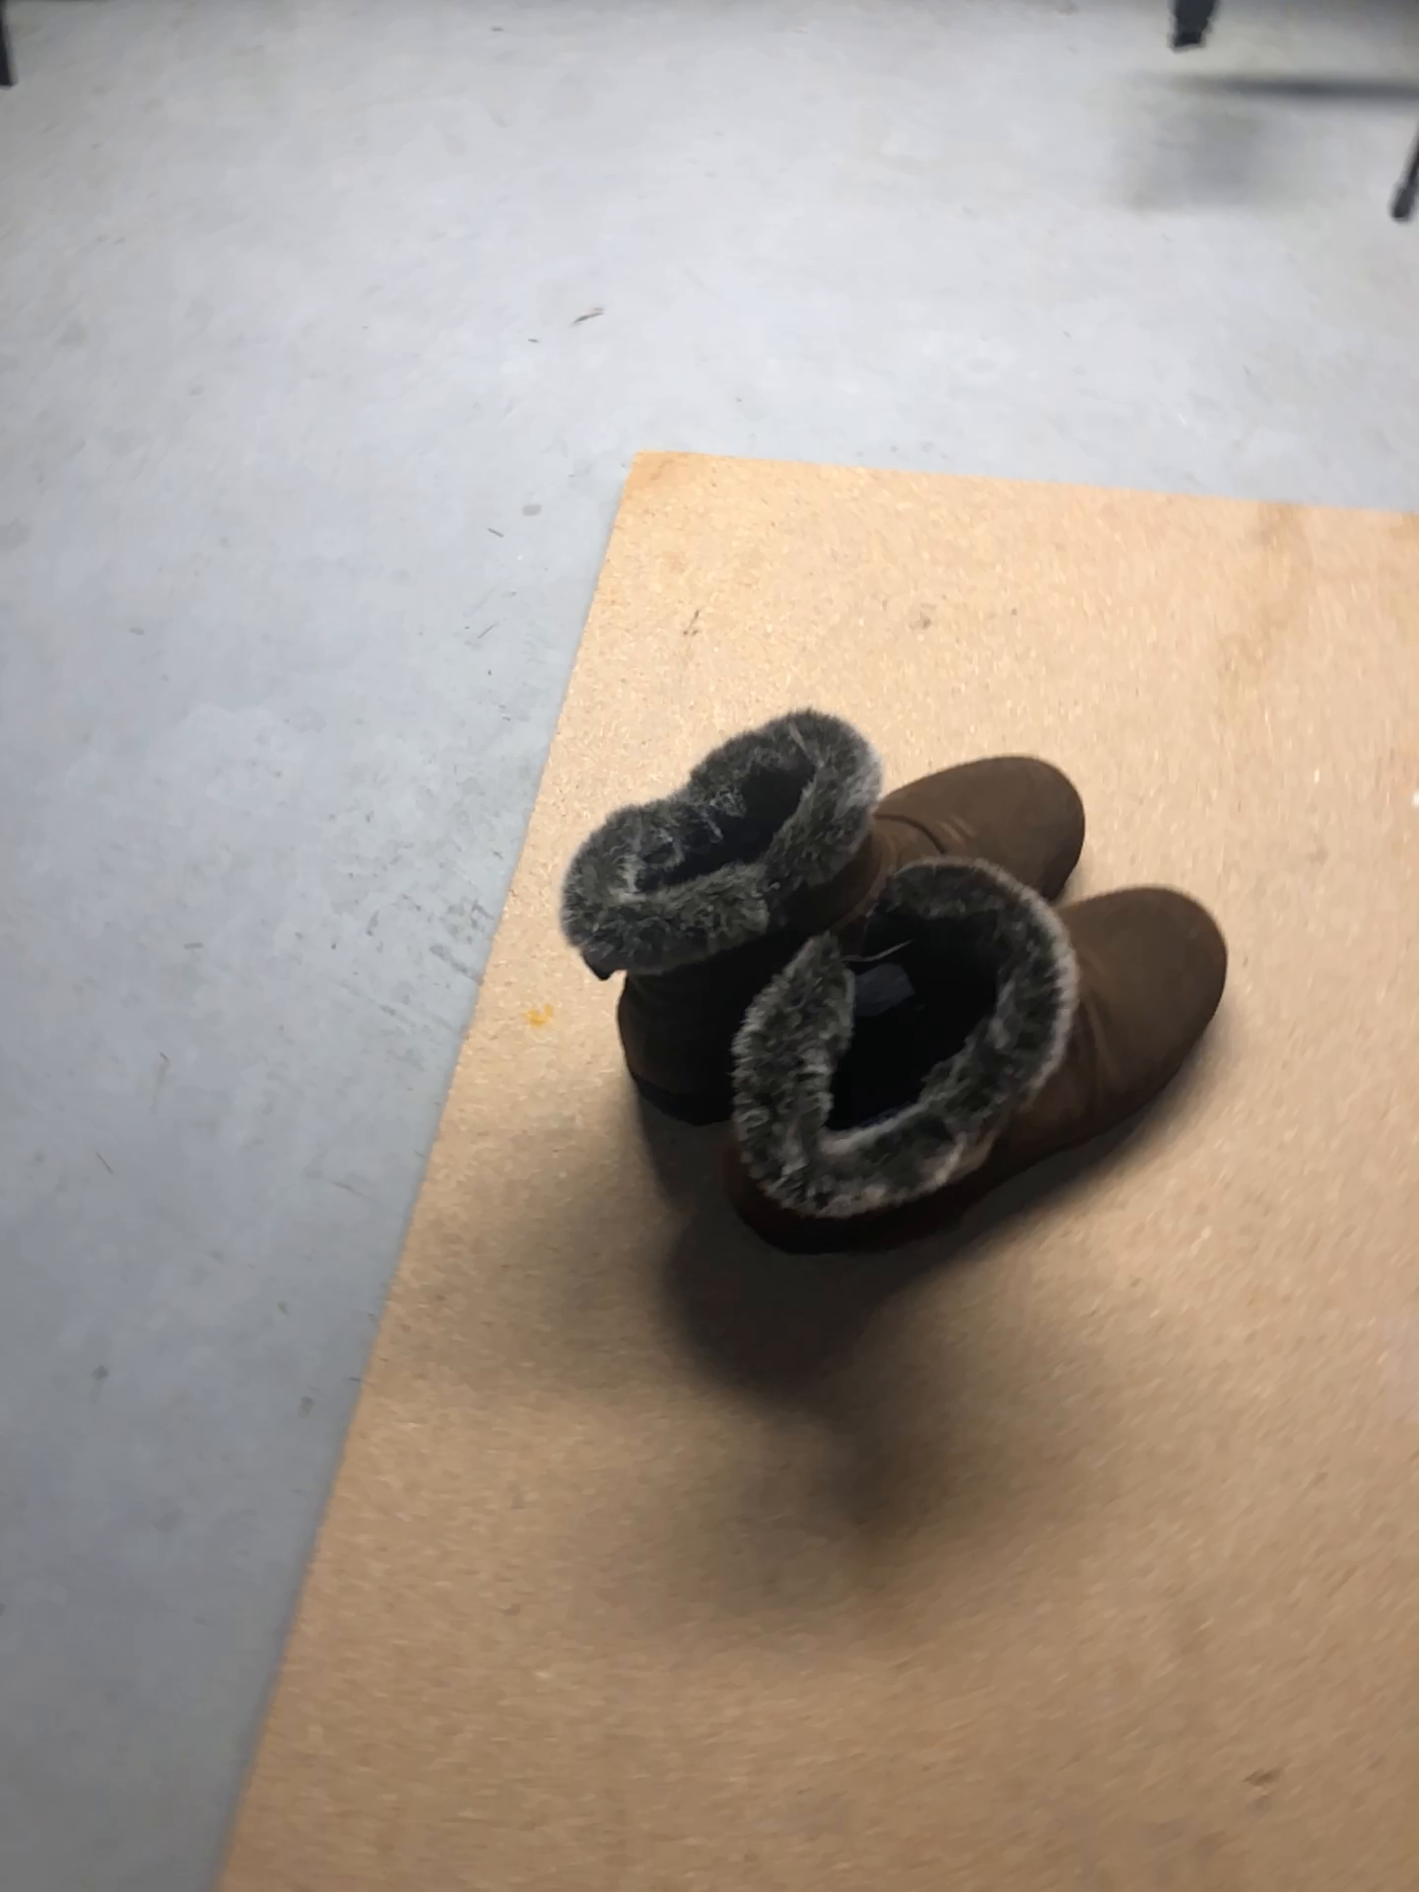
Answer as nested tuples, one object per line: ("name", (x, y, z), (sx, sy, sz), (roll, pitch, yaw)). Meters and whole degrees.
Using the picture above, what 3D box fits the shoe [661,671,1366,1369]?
("shoe", (0.123, 0.043, 0.676), (0.250, 0.220, 0.100), (-32, 64, -12))

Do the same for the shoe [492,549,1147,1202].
("shoe", (0.055, -0.025, 0.732), (0.260, 0.200, 0.100), (-32, 64, -12))
